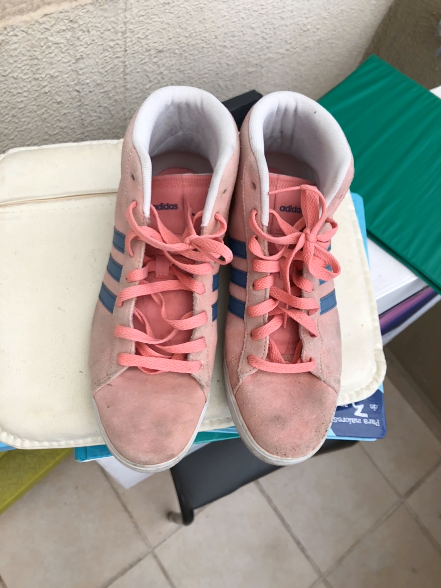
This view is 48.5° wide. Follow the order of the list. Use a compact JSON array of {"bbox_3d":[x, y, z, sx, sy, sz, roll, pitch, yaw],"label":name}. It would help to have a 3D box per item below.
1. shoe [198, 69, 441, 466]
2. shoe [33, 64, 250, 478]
[{"bbox_3d":[0.050,-0.015,0.357,0.100,0.130,0.251,0,66,-11],"label":"shoe"},{"bbox_3d":[-0.044,-0.010,0.344,0.100,0.130,0.251,6,65,-9],"label":"shoe"}]
